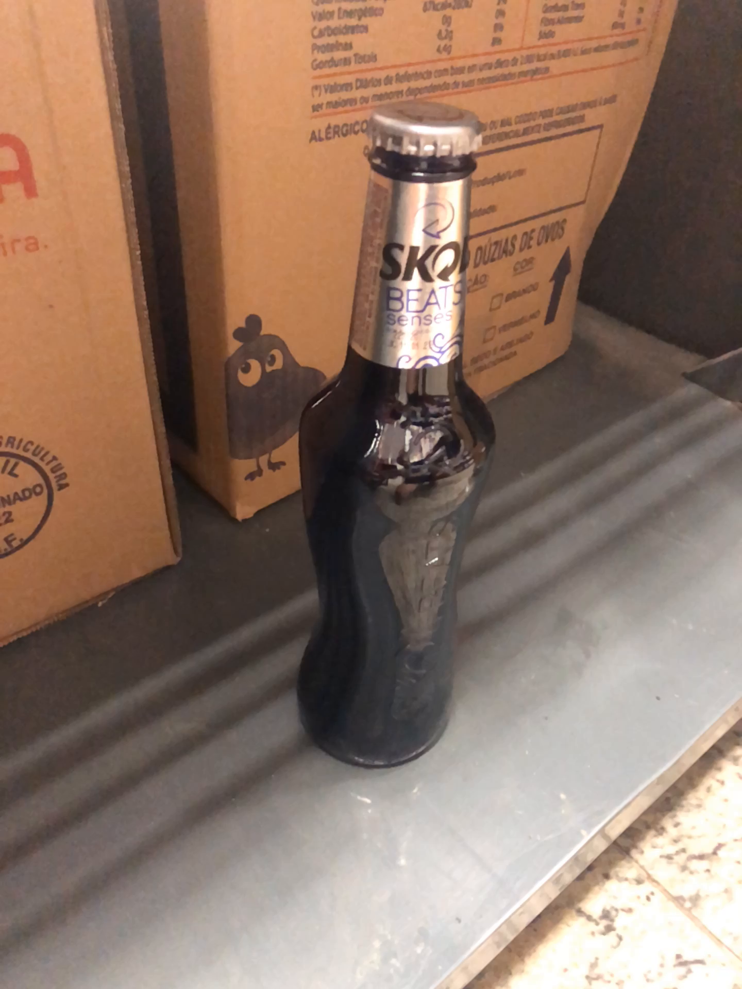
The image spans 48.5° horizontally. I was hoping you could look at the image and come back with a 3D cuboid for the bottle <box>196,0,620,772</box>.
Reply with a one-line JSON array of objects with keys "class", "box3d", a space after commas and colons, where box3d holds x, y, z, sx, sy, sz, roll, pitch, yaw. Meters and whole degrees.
[{"class": "bottle", "box3d": [0.003, -0.016, 0.269, 0.070, 0.238, 0.070, 2, 42, -1]}]
